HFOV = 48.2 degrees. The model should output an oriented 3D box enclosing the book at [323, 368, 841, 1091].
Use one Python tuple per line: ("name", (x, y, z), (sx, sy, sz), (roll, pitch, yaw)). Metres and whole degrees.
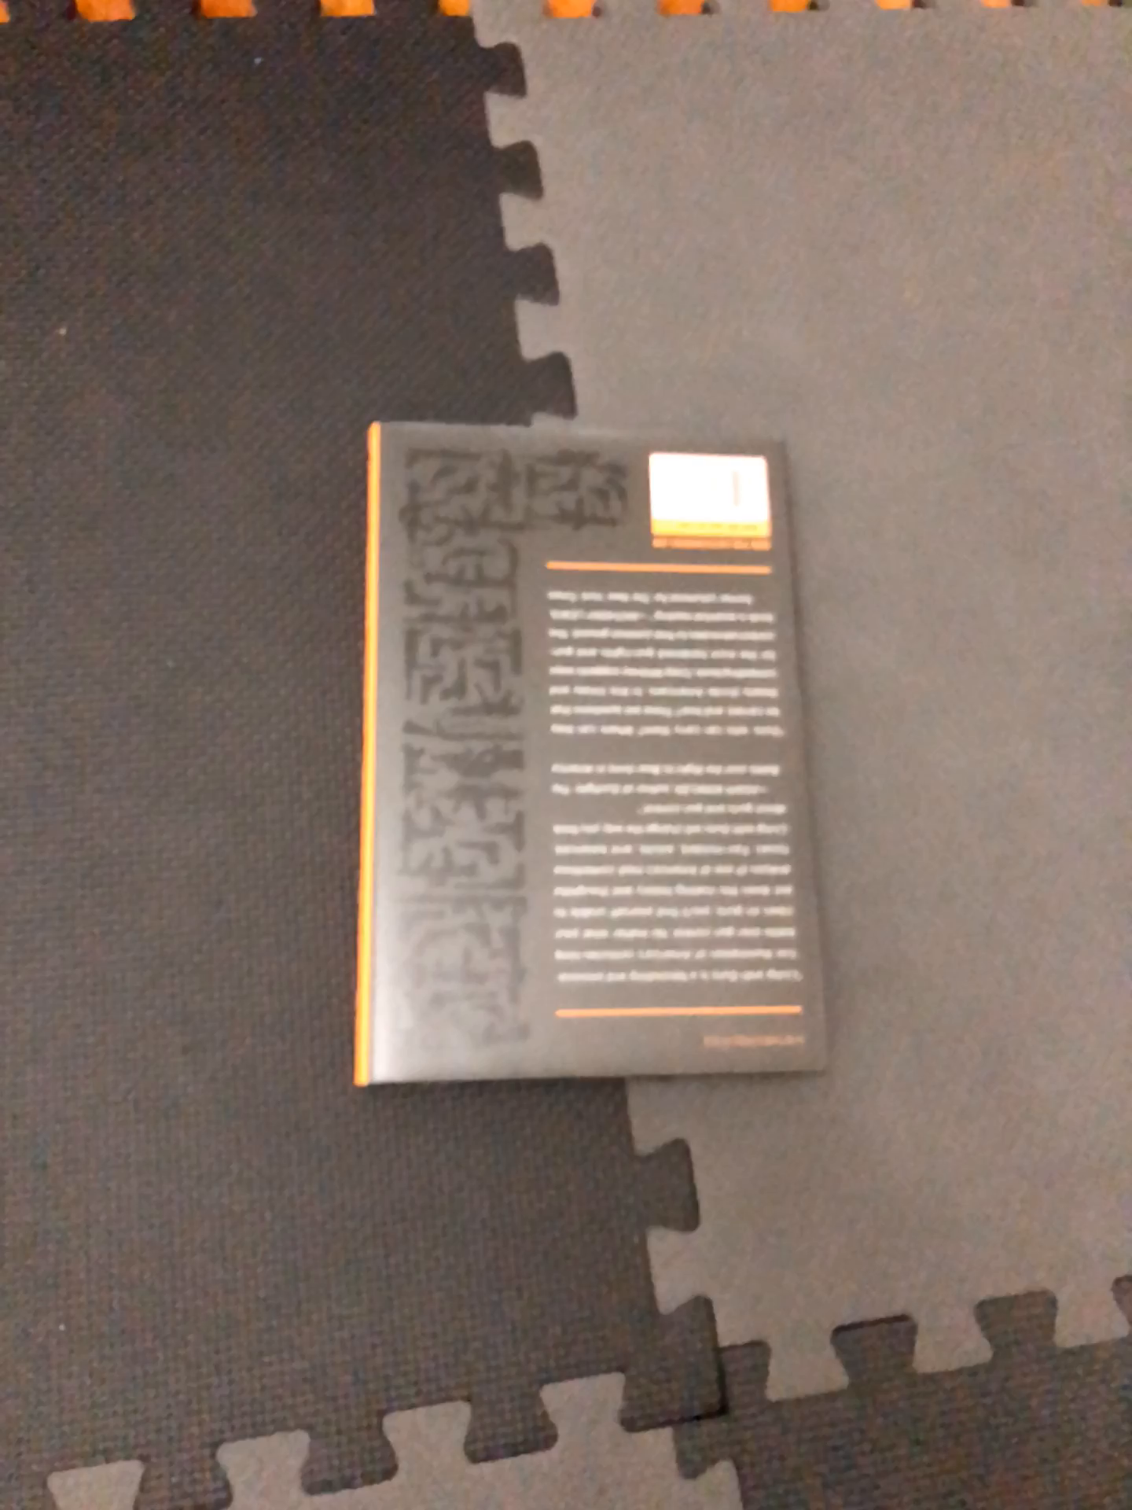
("book", (0.004, -0.012, 0.466), (0.170, 0.040, 0.260), (1, 74, -6))
